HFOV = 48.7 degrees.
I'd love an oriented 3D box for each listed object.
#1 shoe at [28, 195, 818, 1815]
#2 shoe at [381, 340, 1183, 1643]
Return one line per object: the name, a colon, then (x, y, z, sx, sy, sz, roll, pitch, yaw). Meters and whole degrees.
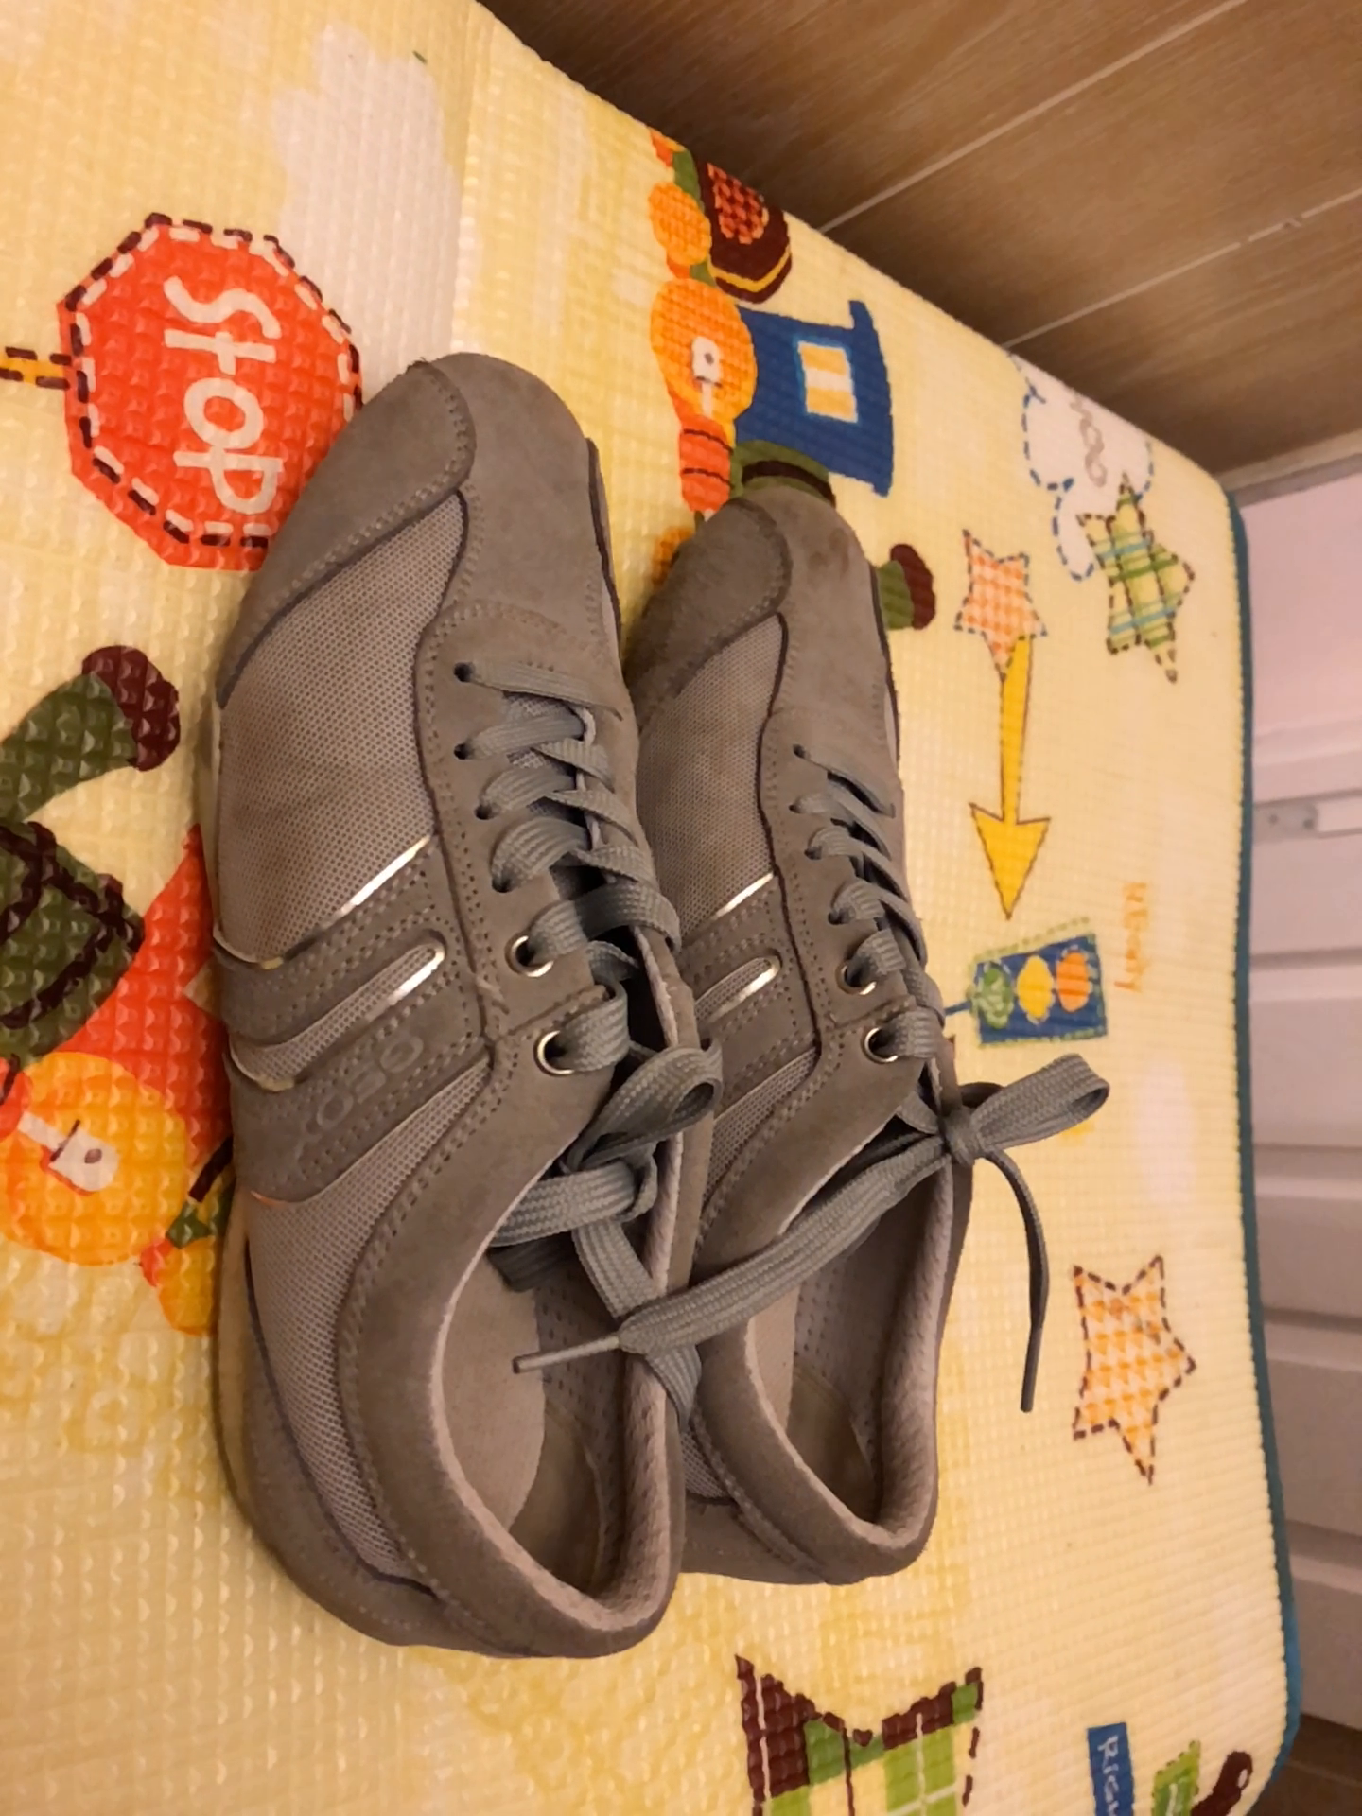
shoe: (-0.049, 0.015, 0.288, 0.090, 0.119, 0.230, 7, 80, -42)
shoe: (0.026, 0.019, 0.331, 0.090, 0.119, 0.230, 20, 72, -40)
